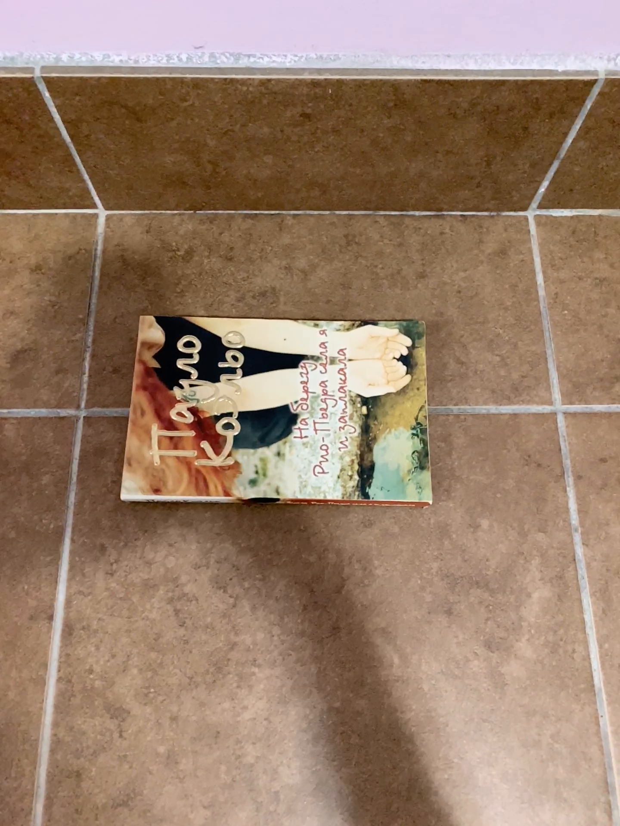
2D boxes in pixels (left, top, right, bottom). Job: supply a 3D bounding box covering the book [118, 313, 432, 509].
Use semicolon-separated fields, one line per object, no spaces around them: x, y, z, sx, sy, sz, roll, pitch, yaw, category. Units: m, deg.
-0.019;-0.003;0.392;0.181;0.016;0.119;1;72;0;book
